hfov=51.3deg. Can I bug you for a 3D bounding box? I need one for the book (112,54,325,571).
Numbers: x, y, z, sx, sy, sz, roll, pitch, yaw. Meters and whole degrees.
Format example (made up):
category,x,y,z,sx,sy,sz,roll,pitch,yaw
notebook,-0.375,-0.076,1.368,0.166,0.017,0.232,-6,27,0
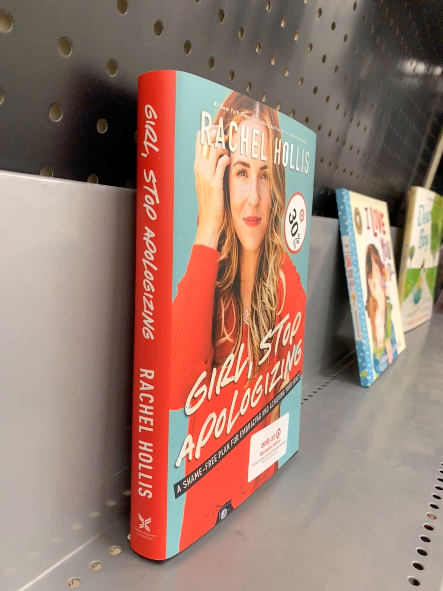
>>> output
category,x,y,z,sx,sy,sz,roll,pitch,yaw
book,0.007,0.006,0.265,0.035,0.220,0.149,7,8,34
